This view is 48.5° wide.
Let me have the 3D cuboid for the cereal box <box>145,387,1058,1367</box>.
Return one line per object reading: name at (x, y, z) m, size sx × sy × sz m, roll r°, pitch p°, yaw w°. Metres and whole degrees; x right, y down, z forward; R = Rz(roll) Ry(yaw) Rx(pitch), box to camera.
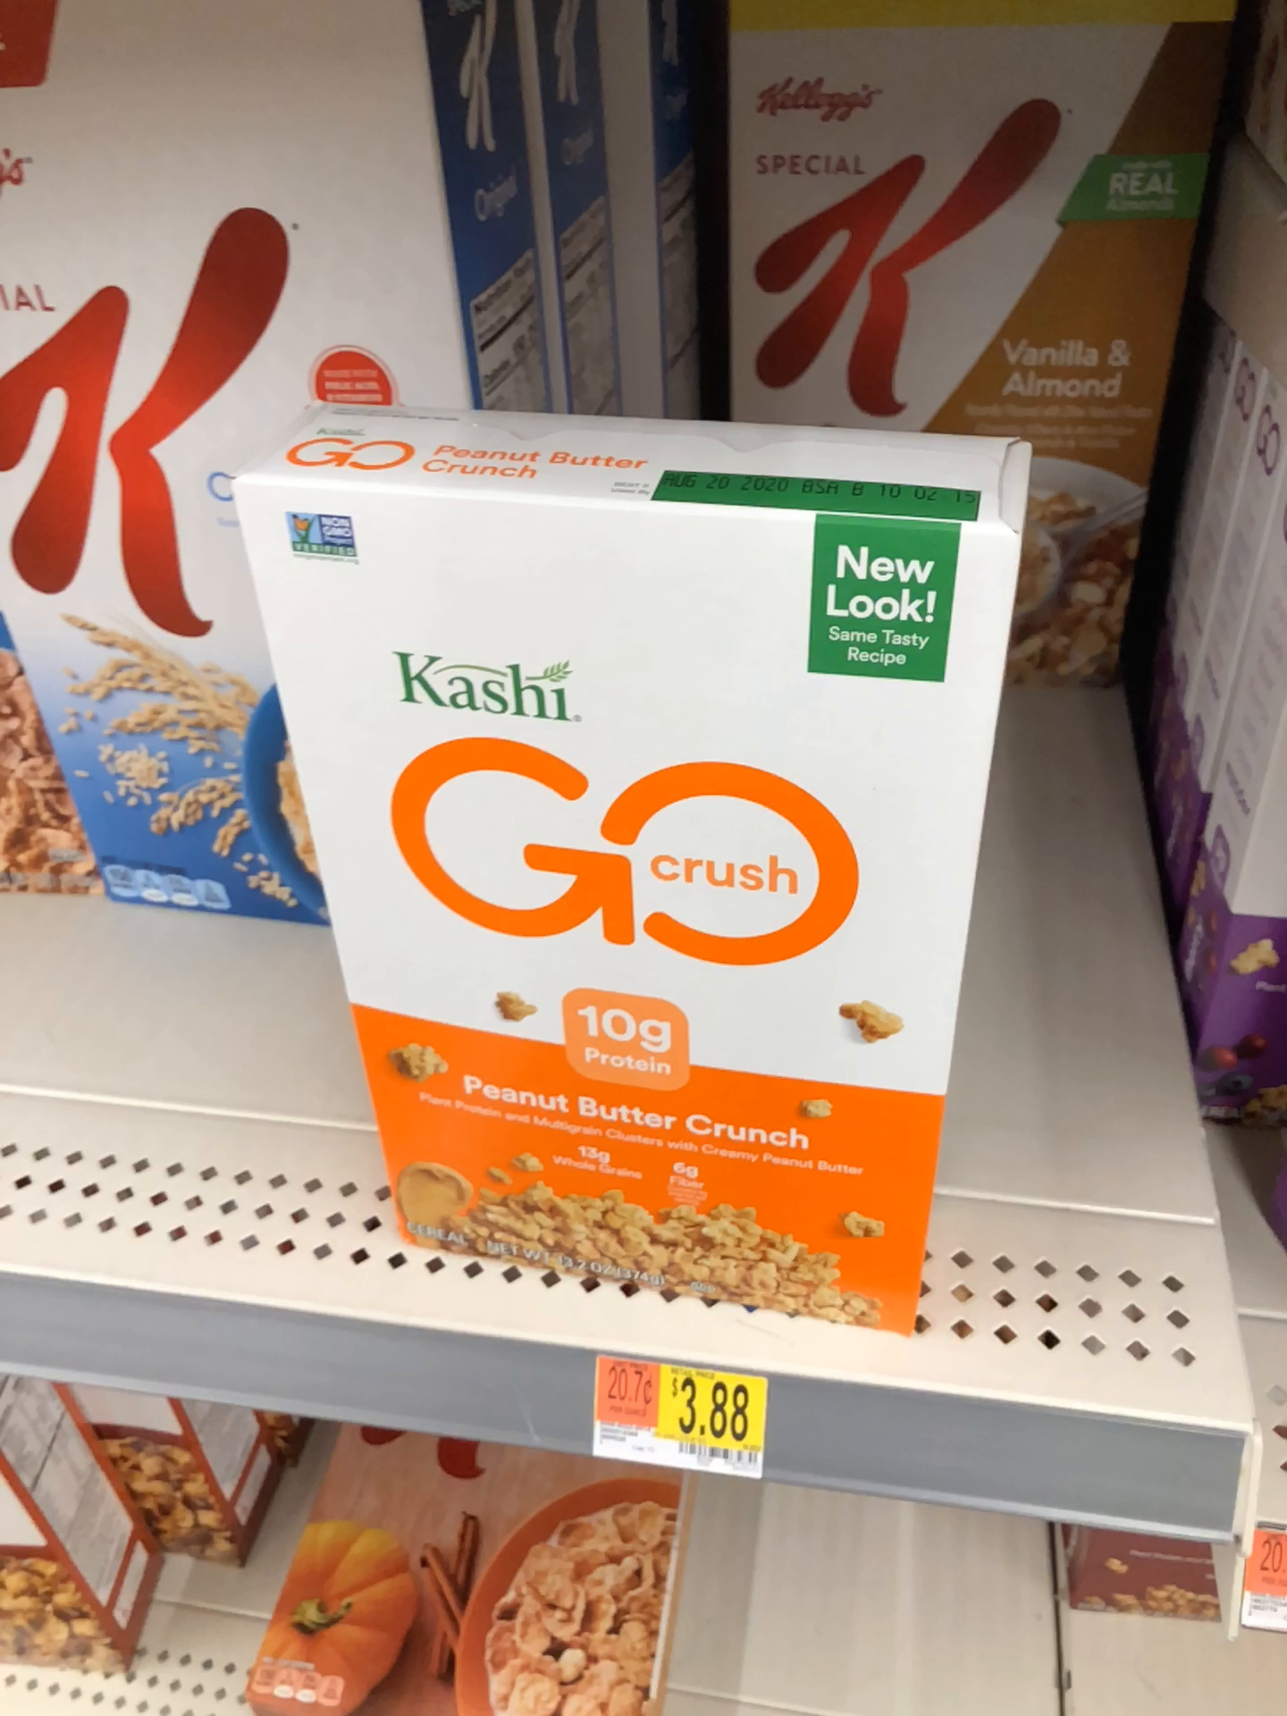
cereal box at (-0.001, 0.018, 0.354) m, size 0.170 × 0.249 × 0.050 m, roll 6°, pitch 40°, yaw 13°
